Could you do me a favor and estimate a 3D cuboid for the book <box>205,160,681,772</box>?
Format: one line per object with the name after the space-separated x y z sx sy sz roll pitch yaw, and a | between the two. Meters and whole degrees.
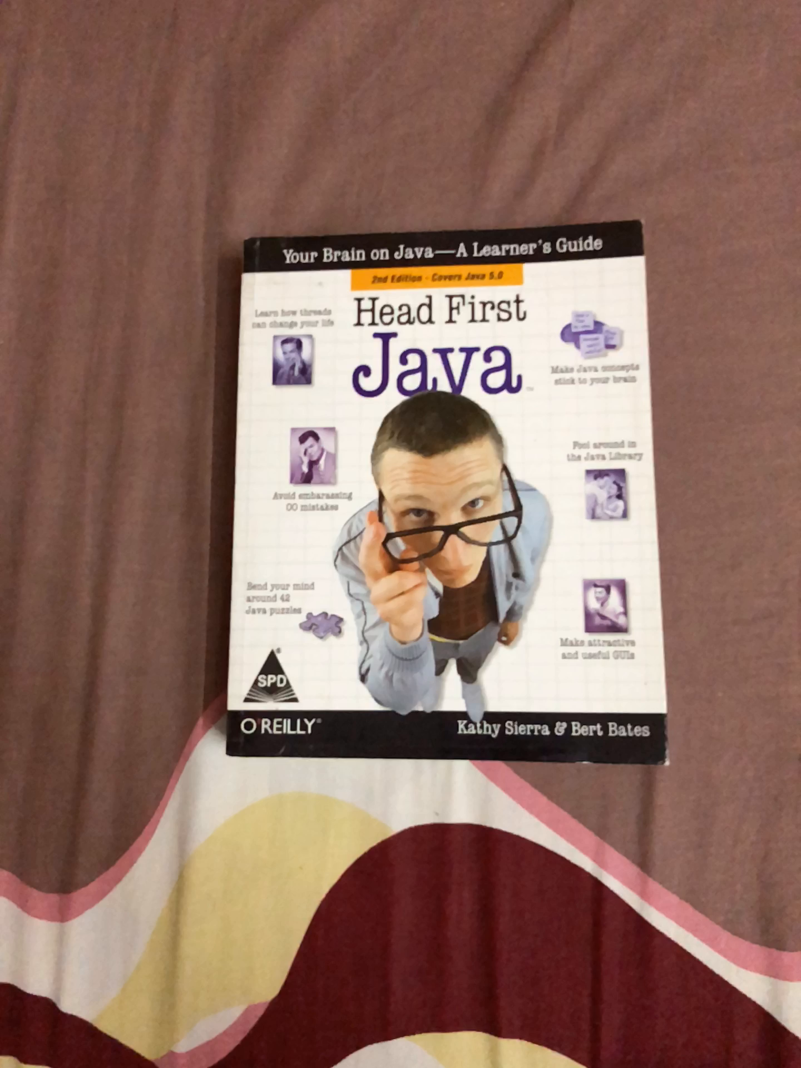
0.018 -0.031 0.402 0.190 0.050 0.260 -1 80 6 | book
